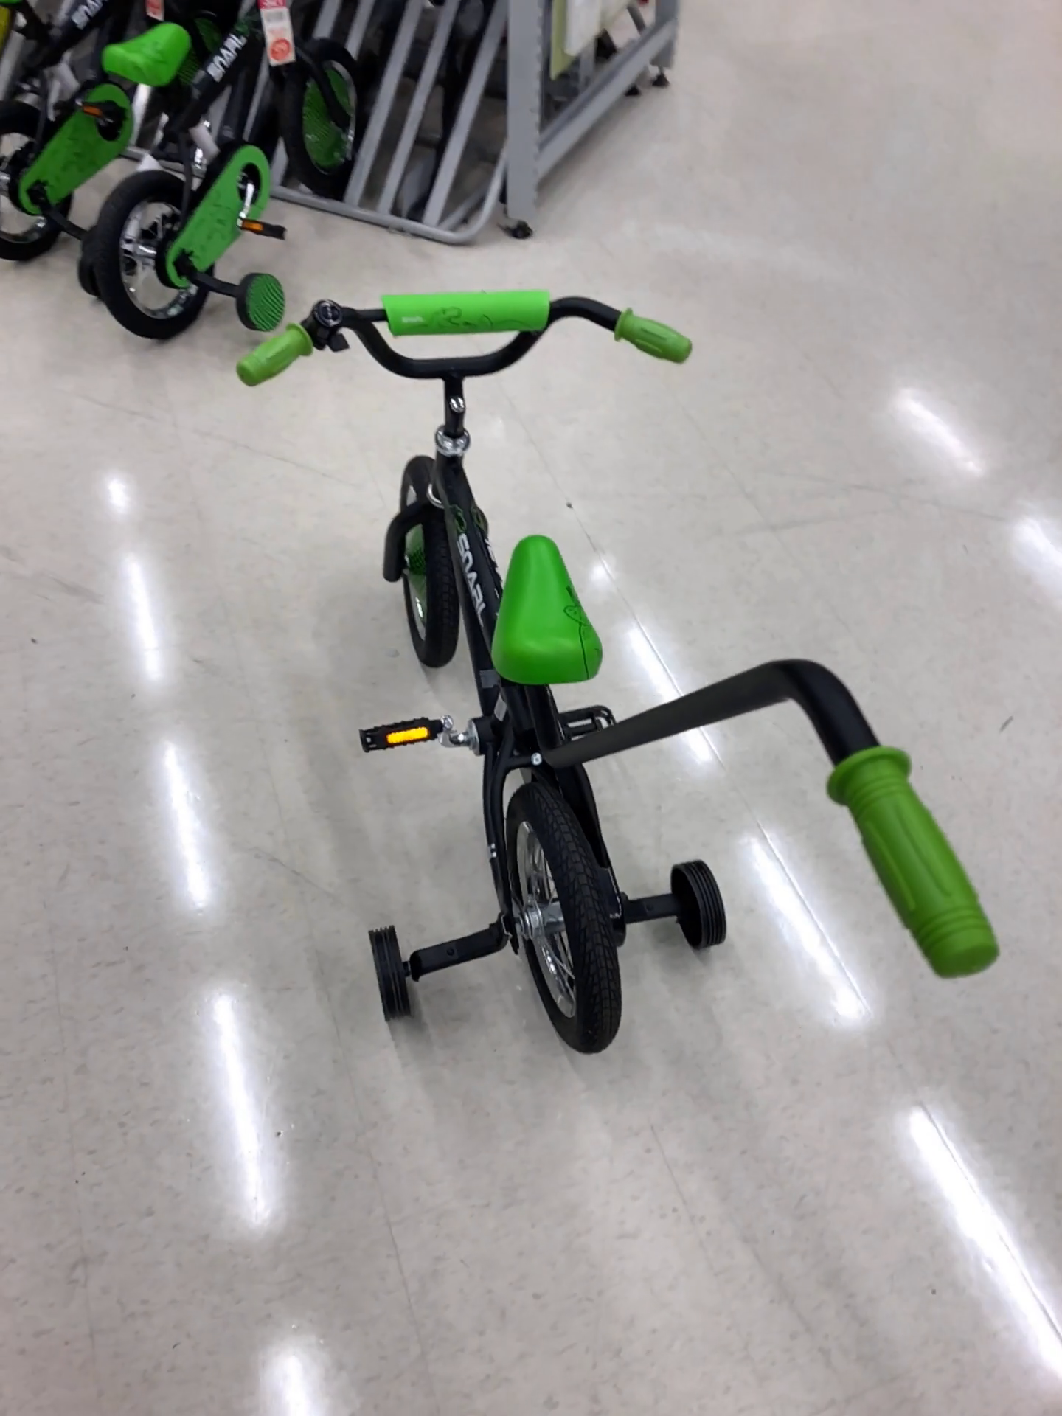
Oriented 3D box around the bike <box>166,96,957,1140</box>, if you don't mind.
[{"bbox_3d":[-0.041,-0.123,1.286,0.490,0.600,0.850,-12,54,-11],"label":"bike"}]
